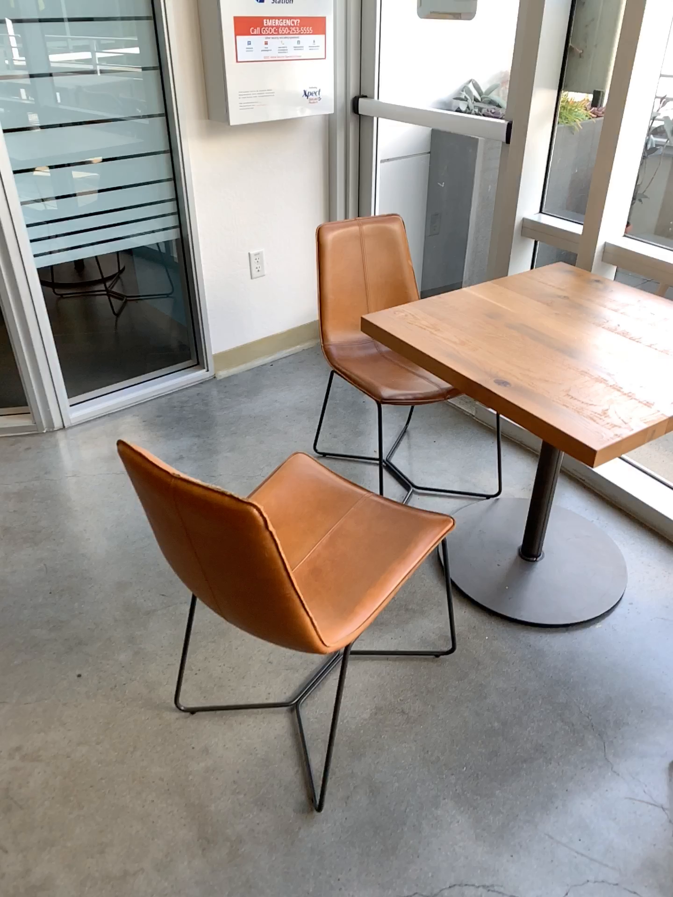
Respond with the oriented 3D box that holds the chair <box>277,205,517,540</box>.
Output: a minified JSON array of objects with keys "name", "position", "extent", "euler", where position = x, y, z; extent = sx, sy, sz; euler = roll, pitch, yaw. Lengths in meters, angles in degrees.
[{"name":"chair","position":[0.174,-0.272,2.240],"extent":[0.490,0.865,0.553],"euler":[-17,33,-24]}]

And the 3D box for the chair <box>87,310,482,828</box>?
[{"name":"chair","position":[-0.063,0.253,1.506],"extent":[0.491,0.864,0.542],"euler":[22,44,30]}]
